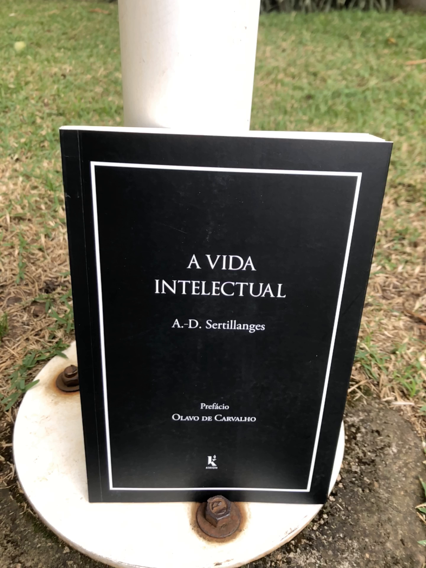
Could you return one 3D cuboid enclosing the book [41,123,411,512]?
[{"bbox_3d":[0.003,0.027,0.229,0.140,0.193,0.025,1,23,-1],"label":"book"}]
